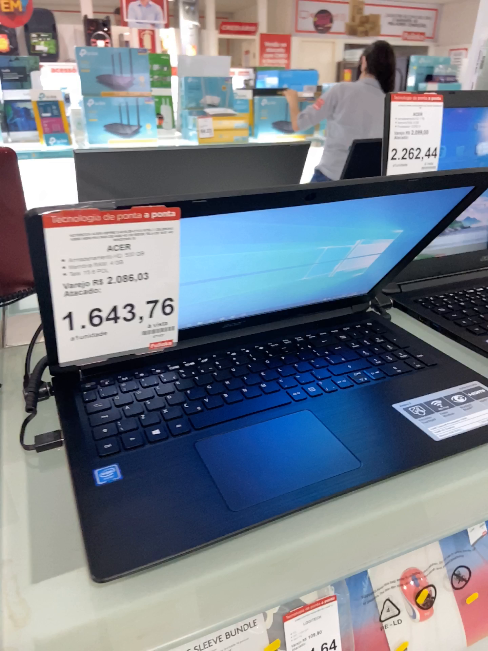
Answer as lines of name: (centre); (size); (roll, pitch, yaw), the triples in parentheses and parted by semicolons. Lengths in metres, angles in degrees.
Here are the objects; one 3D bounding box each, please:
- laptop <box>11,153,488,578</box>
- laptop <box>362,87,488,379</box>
laptop: (0.034, -0.022, 0.417); (0.379, 0.185, 0.239); (-11, 27, -22)
laptop: (0.410, -0.147, 0.608); (0.399, 0.247, 0.285); (-10, 27, -21)
